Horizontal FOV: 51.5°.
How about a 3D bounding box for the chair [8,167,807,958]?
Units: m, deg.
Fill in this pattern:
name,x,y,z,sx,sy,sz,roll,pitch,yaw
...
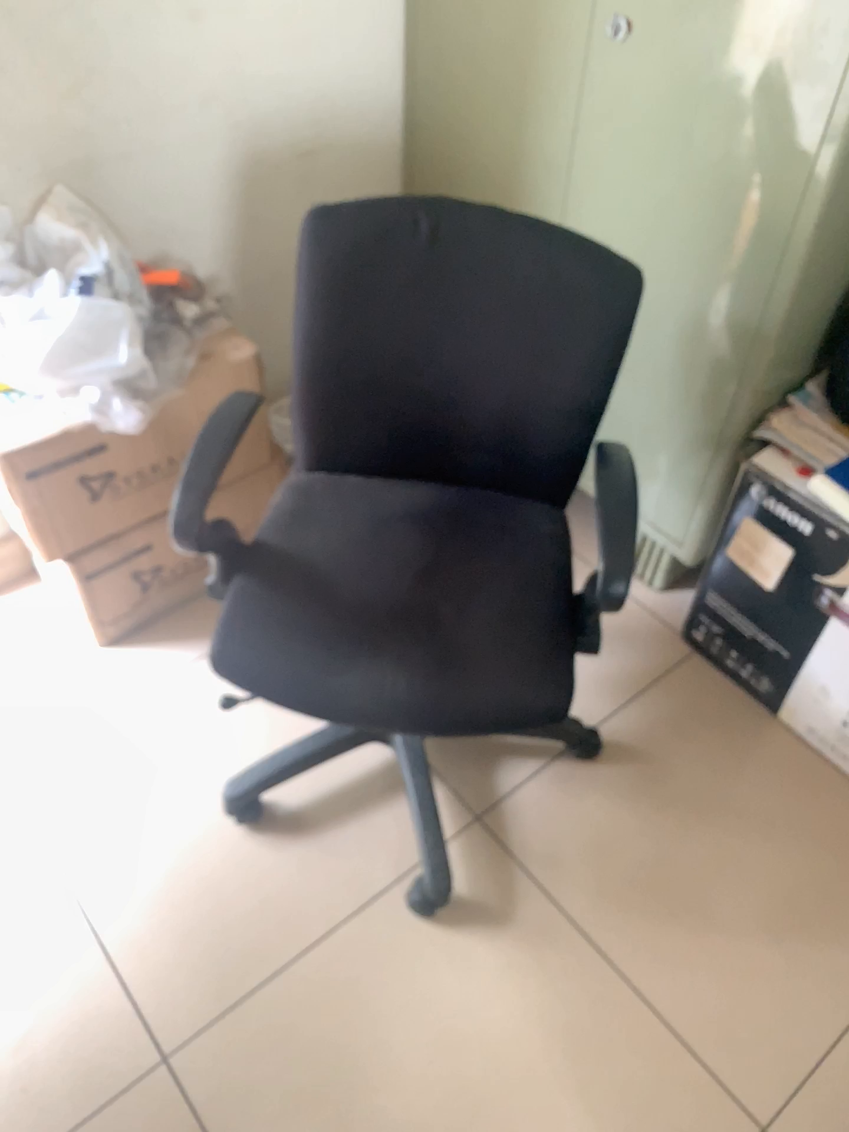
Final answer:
name,x,y,z,sx,sy,sz,roll,pitch,yaw
chair,-0.004,0.032,1.344,0.700,0.927,0.702,5,47,2
